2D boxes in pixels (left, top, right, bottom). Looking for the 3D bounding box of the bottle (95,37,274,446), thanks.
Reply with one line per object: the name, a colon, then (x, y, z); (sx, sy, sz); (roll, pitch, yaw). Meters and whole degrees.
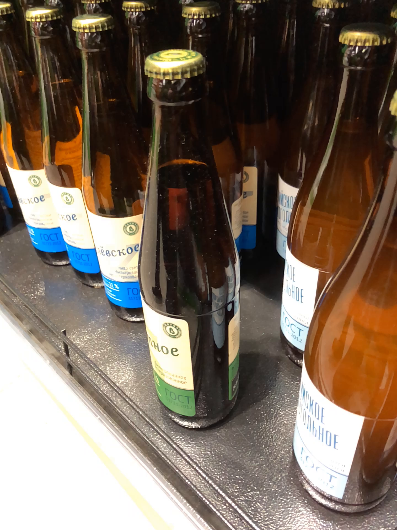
bottle: (-0.005, 0.005, 0.278); (0.070, 0.249, 0.080); (-8, 38, -6)
